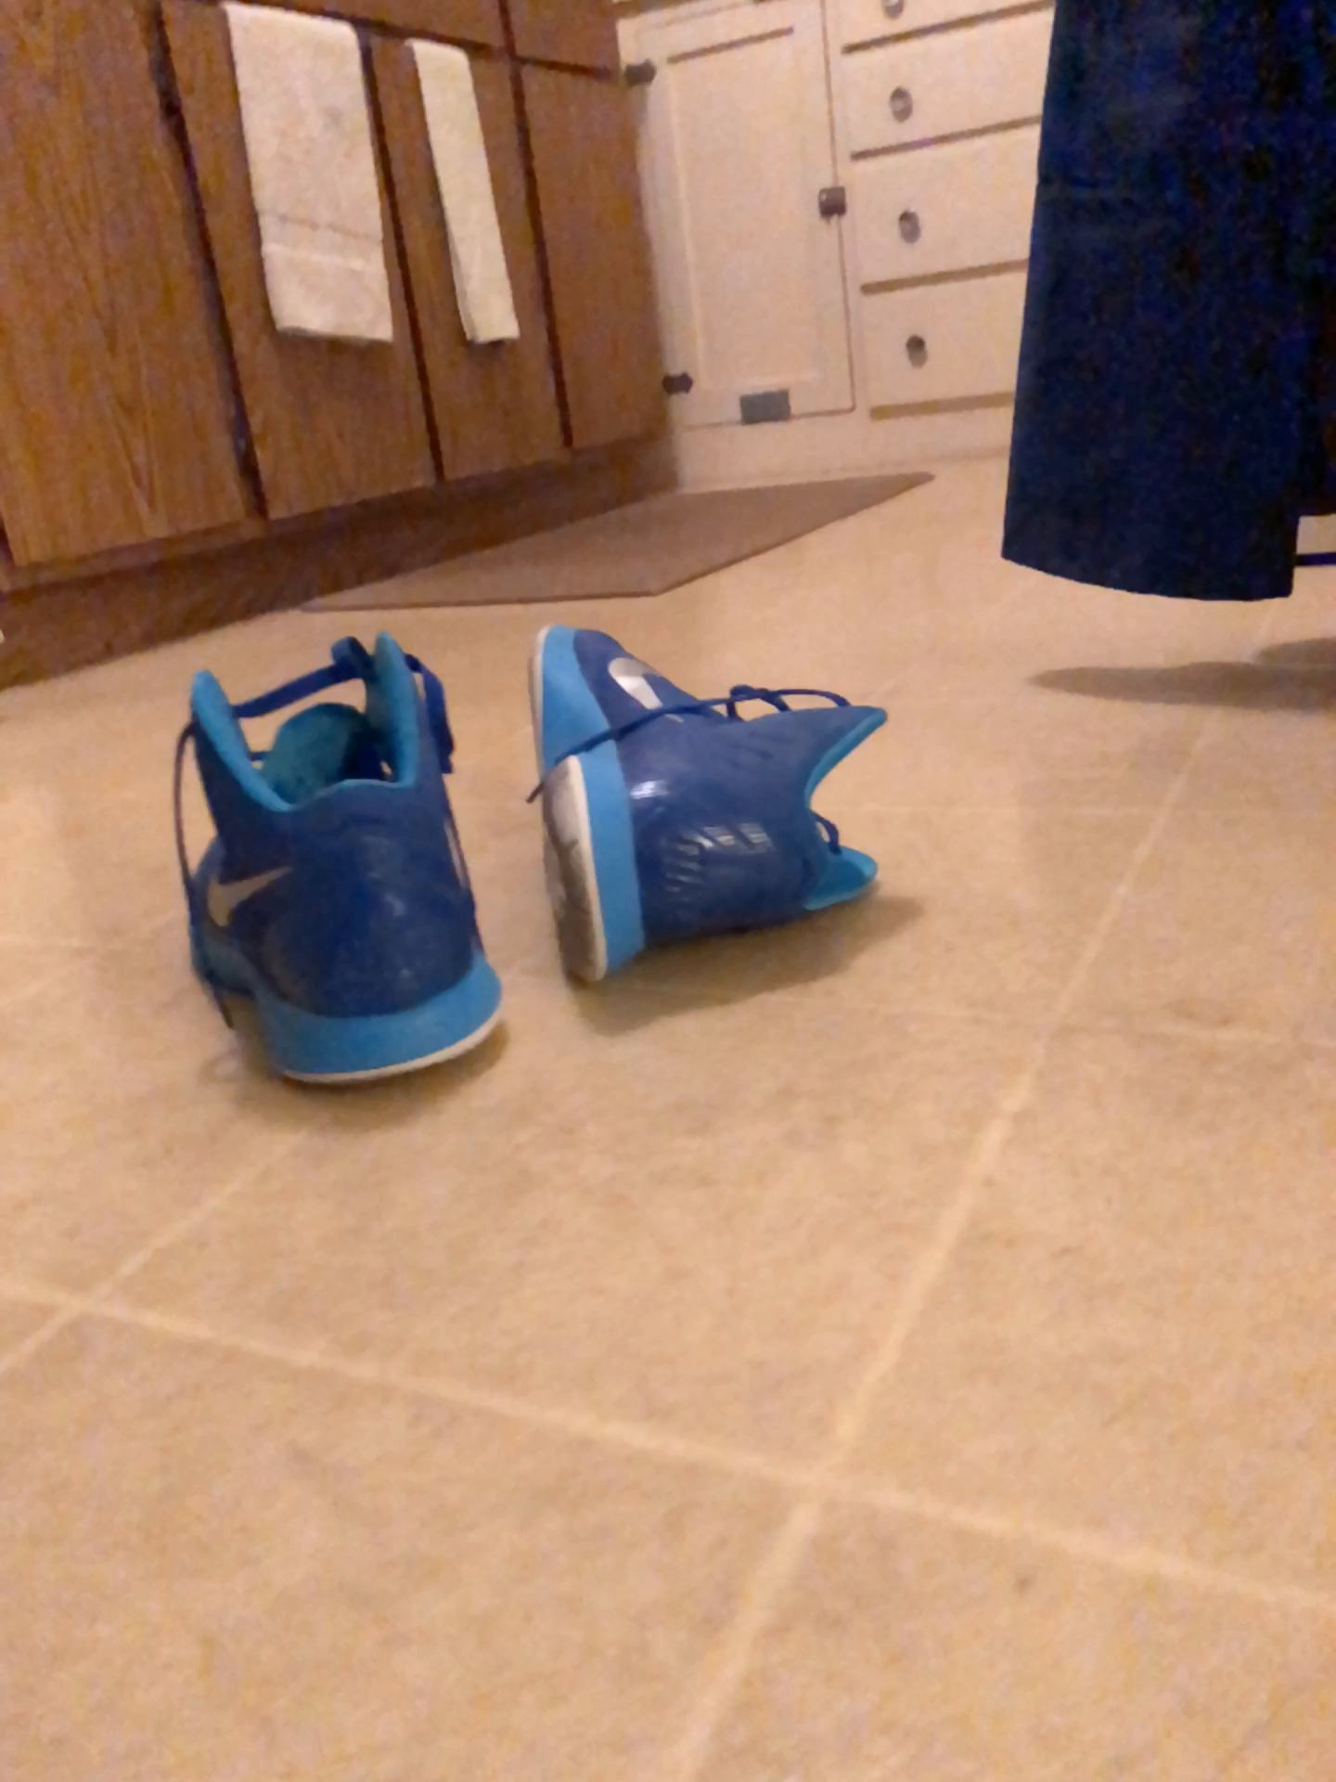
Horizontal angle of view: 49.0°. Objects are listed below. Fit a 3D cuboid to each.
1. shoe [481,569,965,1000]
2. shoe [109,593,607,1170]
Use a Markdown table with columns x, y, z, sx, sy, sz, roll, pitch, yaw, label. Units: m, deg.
| x | y | z | sx | sy | sz | roll | pitch | yaw | label |
| --- | --- | --- | --- | --- | --- | --- | --- | --- | --- |
| 0.008 | -0.068 | 0.676 | 0.159 | 0.119 | 0.282 | -6 | 19 | -9 | shoe |
| -0.147 | -0.030 | 0.621 | 0.120 | 0.144 | 0.311 | -15 | 21 | -19 | shoe |
